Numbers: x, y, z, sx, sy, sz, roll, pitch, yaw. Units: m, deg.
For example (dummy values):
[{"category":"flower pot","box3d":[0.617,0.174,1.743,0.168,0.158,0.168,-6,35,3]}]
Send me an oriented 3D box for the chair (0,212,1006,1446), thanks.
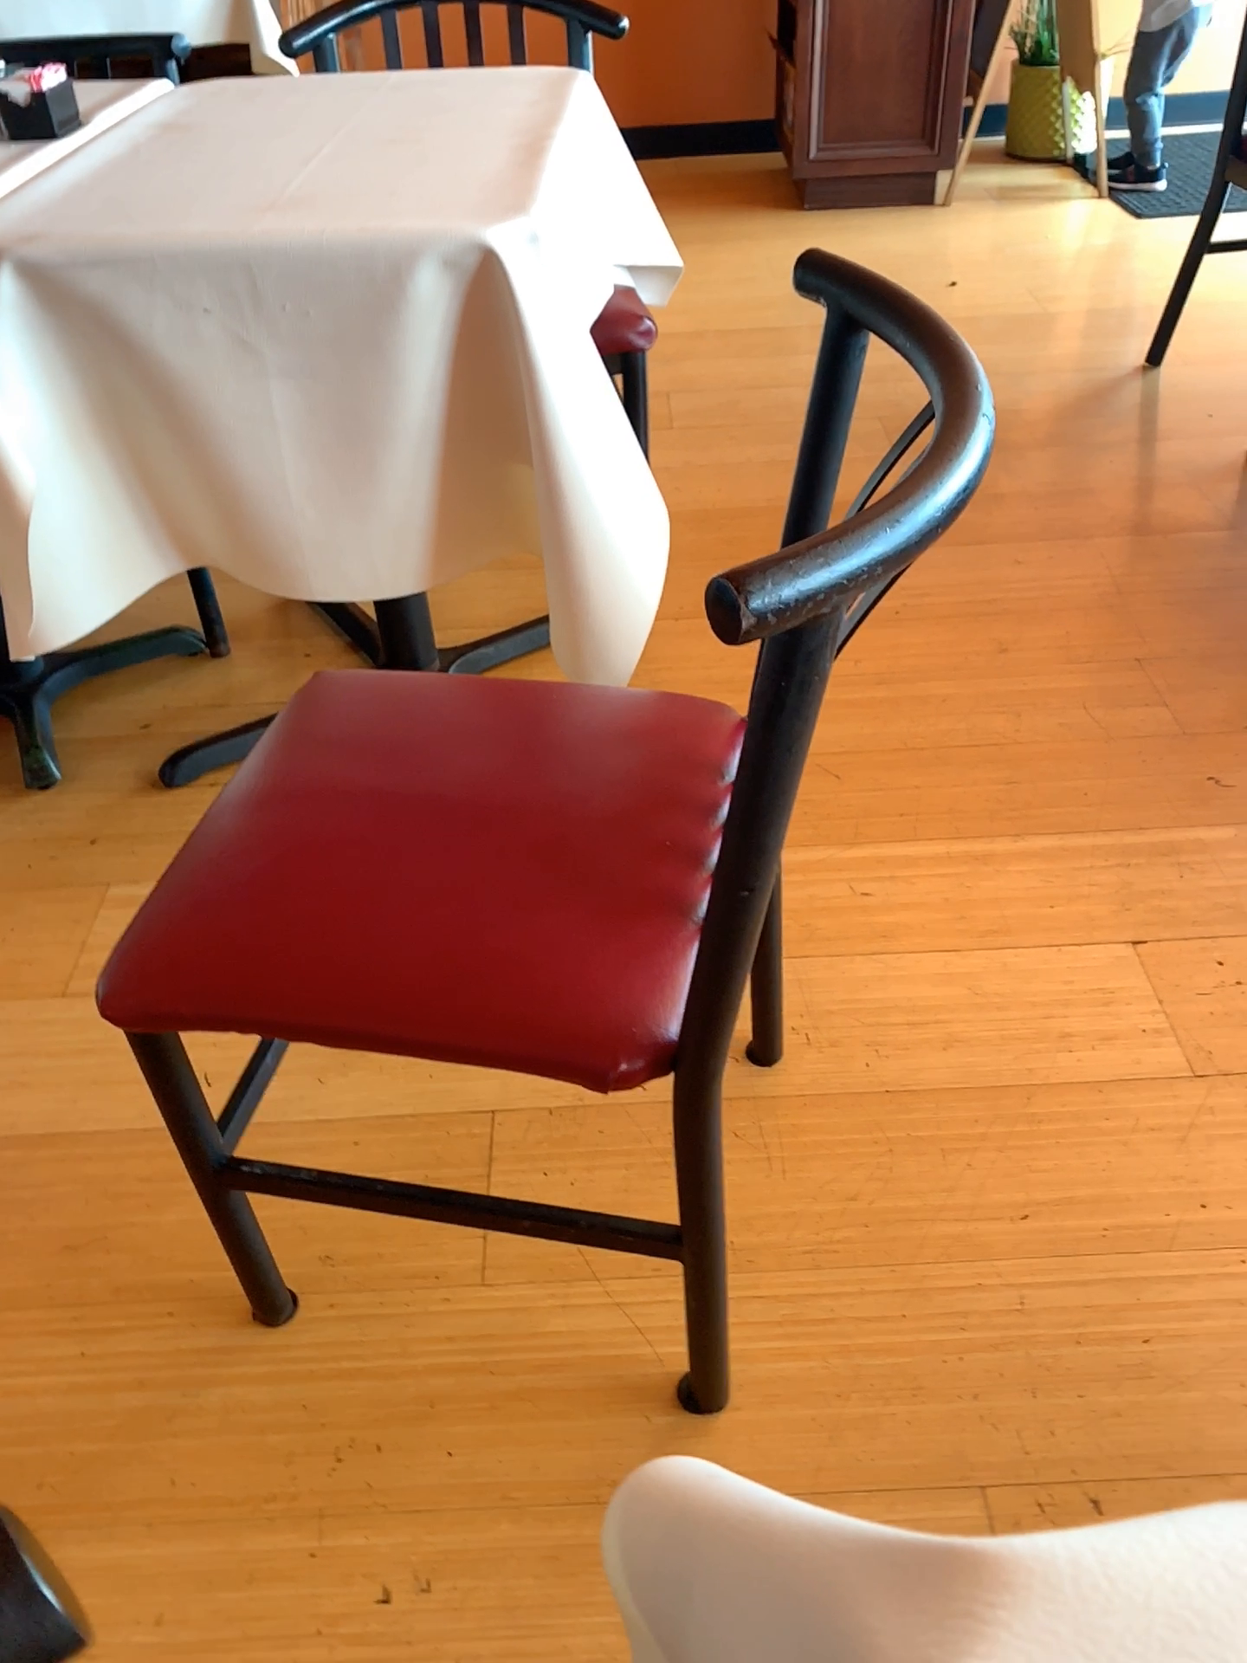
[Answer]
[{"category":"chair","box3d":[-0.070,0.008,0.940,0.570,0.726,0.483,4,43,10]}]
